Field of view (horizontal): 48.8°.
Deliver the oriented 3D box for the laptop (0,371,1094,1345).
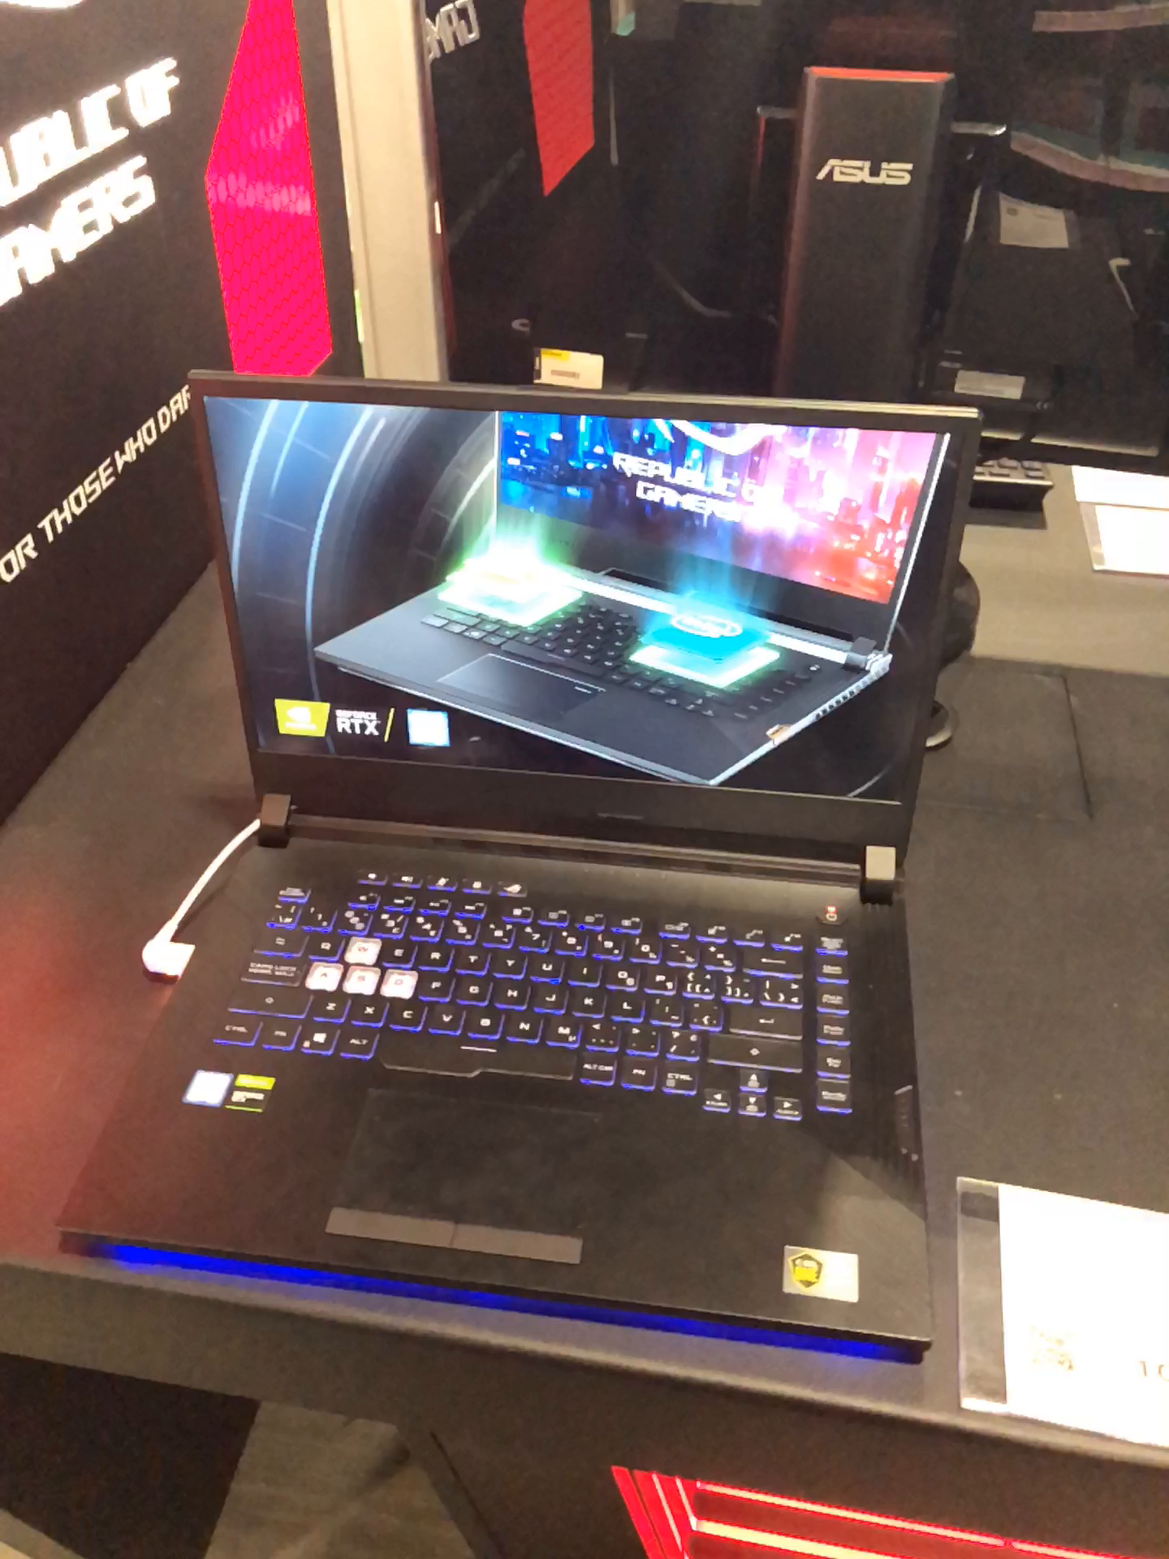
[{"bbox_3d":[-0.025,0.019,0.554,0.360,0.268,0.276,5,40,6],"label":"laptop"}]
